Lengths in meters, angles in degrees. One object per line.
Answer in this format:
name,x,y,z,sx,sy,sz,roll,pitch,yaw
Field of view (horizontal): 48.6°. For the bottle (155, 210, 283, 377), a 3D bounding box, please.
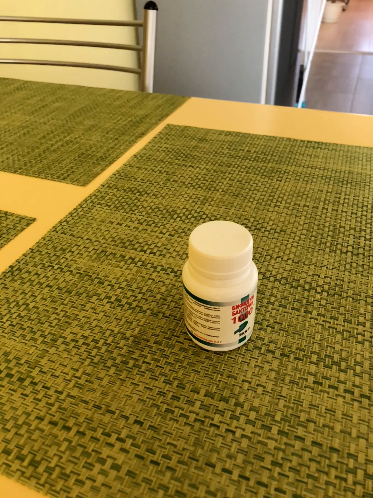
bottle,0.018,0.025,0.247,0.050,0.069,0.050,-1,36,1
